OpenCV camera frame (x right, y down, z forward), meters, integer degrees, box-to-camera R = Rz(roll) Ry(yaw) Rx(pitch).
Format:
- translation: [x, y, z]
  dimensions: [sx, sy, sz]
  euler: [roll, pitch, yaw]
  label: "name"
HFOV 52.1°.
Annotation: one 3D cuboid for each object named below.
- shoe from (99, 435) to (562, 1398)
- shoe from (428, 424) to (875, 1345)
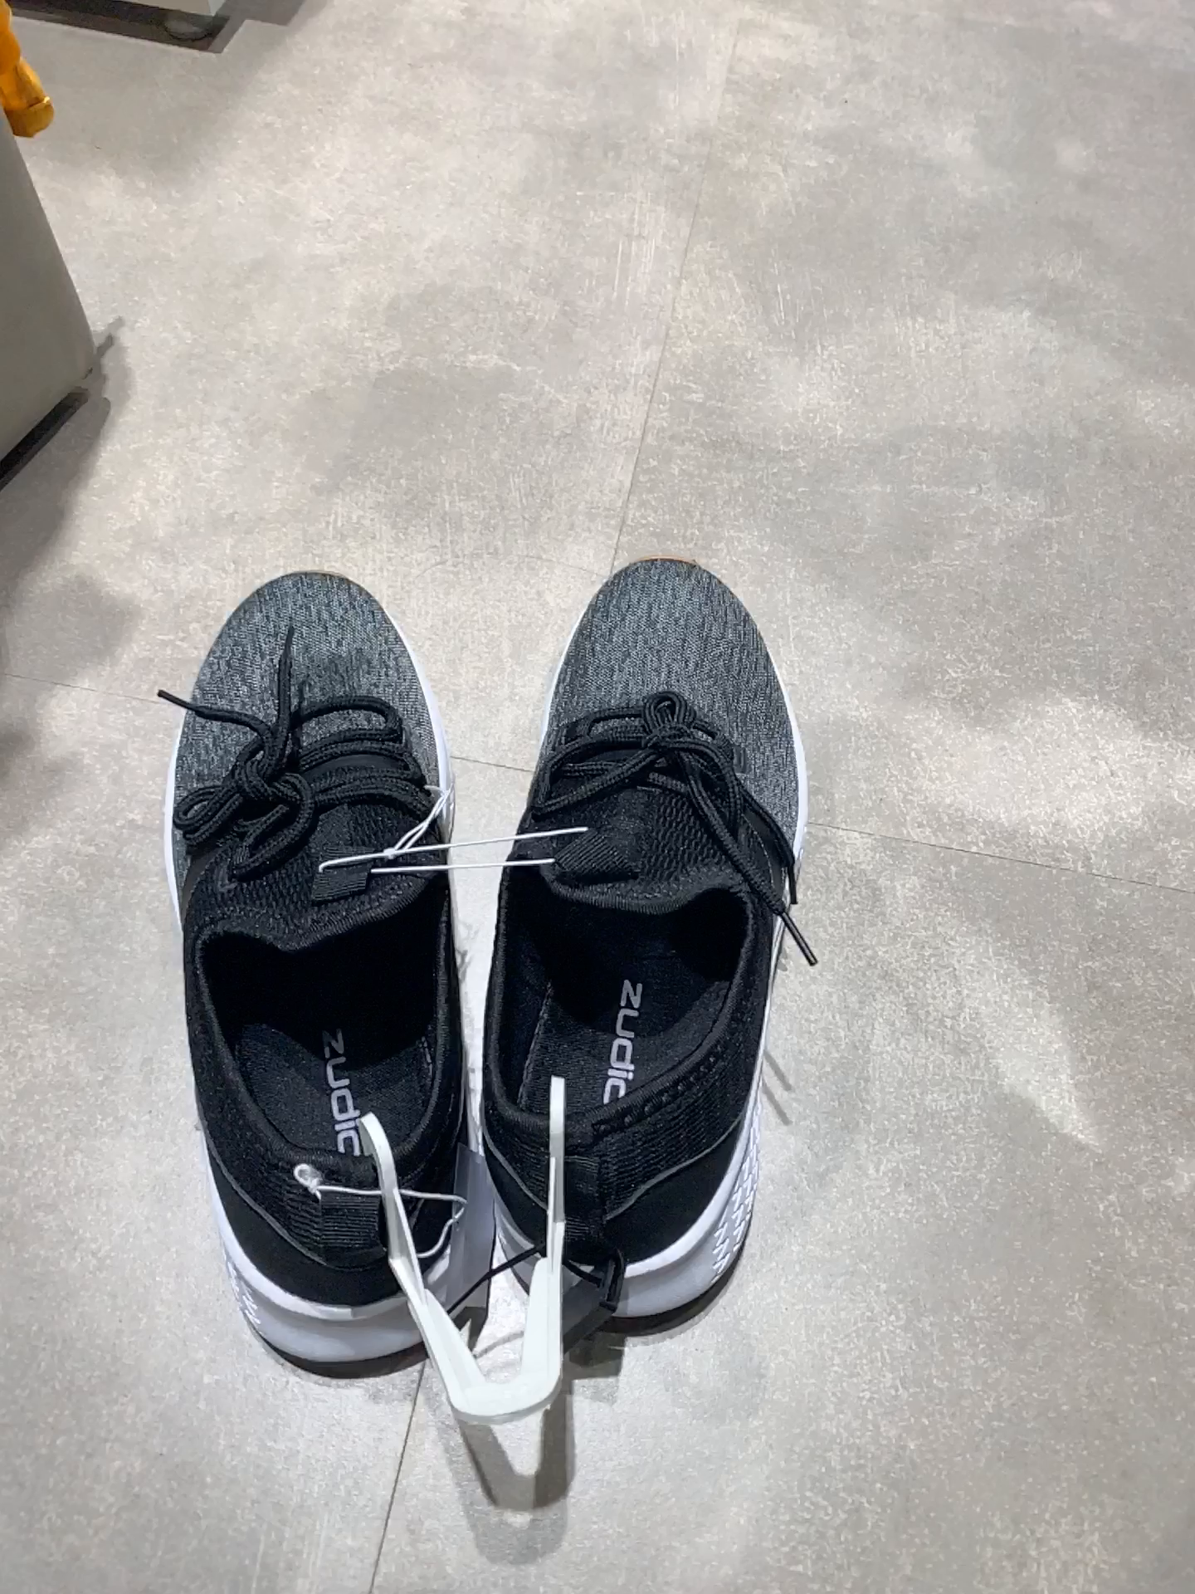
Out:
- translation: [-0.089, 0.026, 0.391]
  dimensions: [0.106, 0.096, 0.278]
  euler: [-9, 61, -7]
  label: "shoe"
- translation: [0.027, 0.018, 0.404]
  dimensions: [0.107, 0.096, 0.278]
  euler: [7, 60, 1]
  label: "shoe"
